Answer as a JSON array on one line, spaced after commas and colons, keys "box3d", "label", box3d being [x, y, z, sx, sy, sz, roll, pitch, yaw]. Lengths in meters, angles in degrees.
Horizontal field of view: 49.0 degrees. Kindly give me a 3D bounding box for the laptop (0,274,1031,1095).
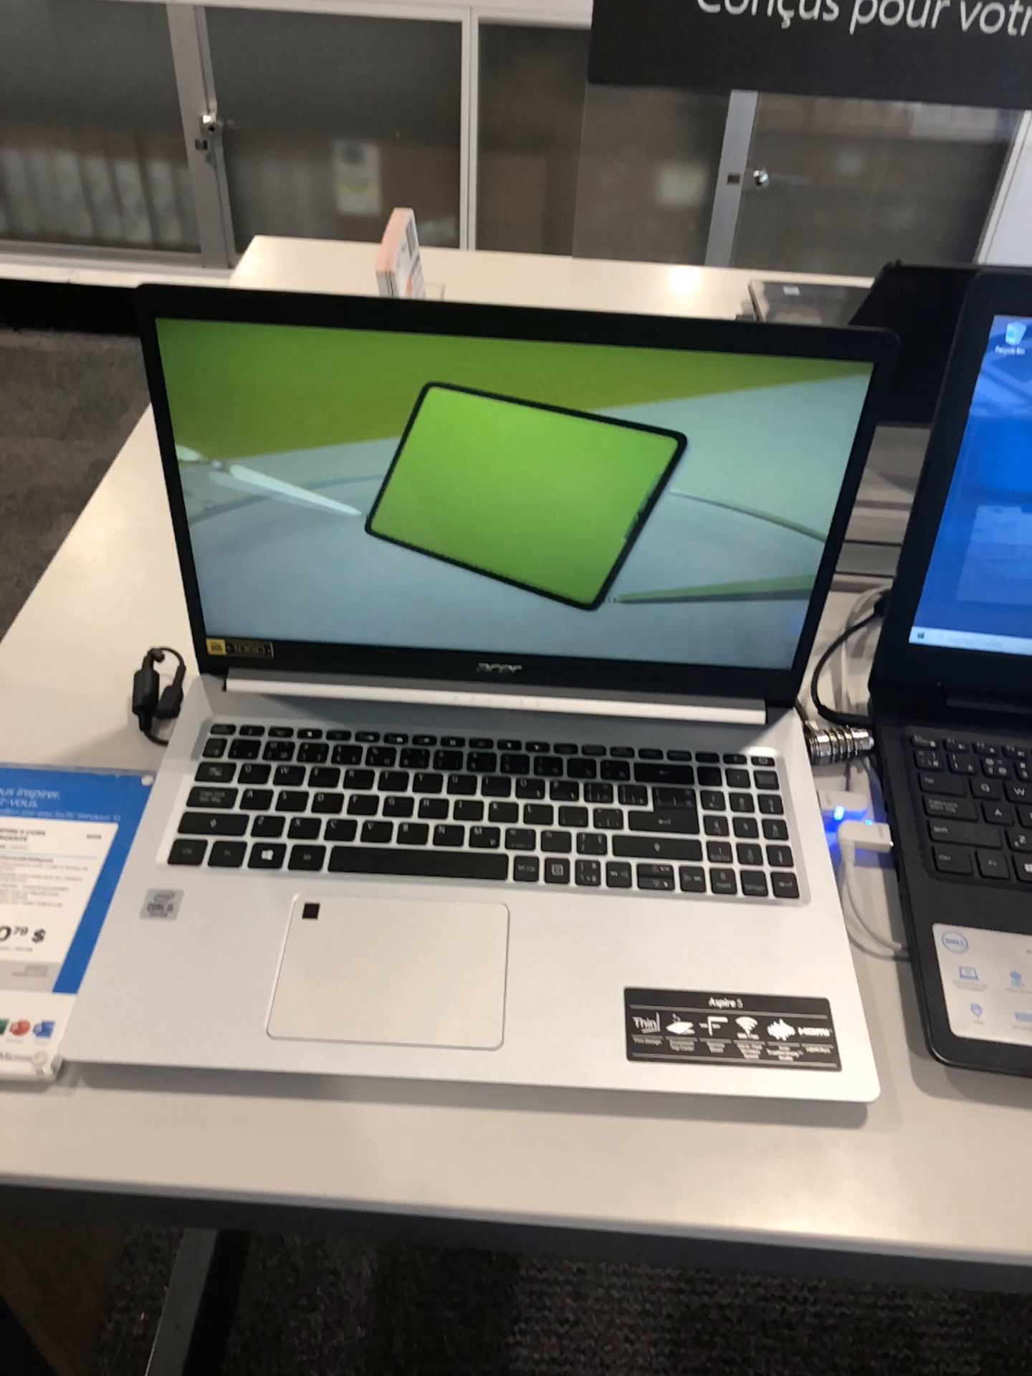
[{"box3d": [-0.013, -0.011, 0.517, 0.349, 0.229, 0.268, 3, 43, 1], "label": "laptop"}]
